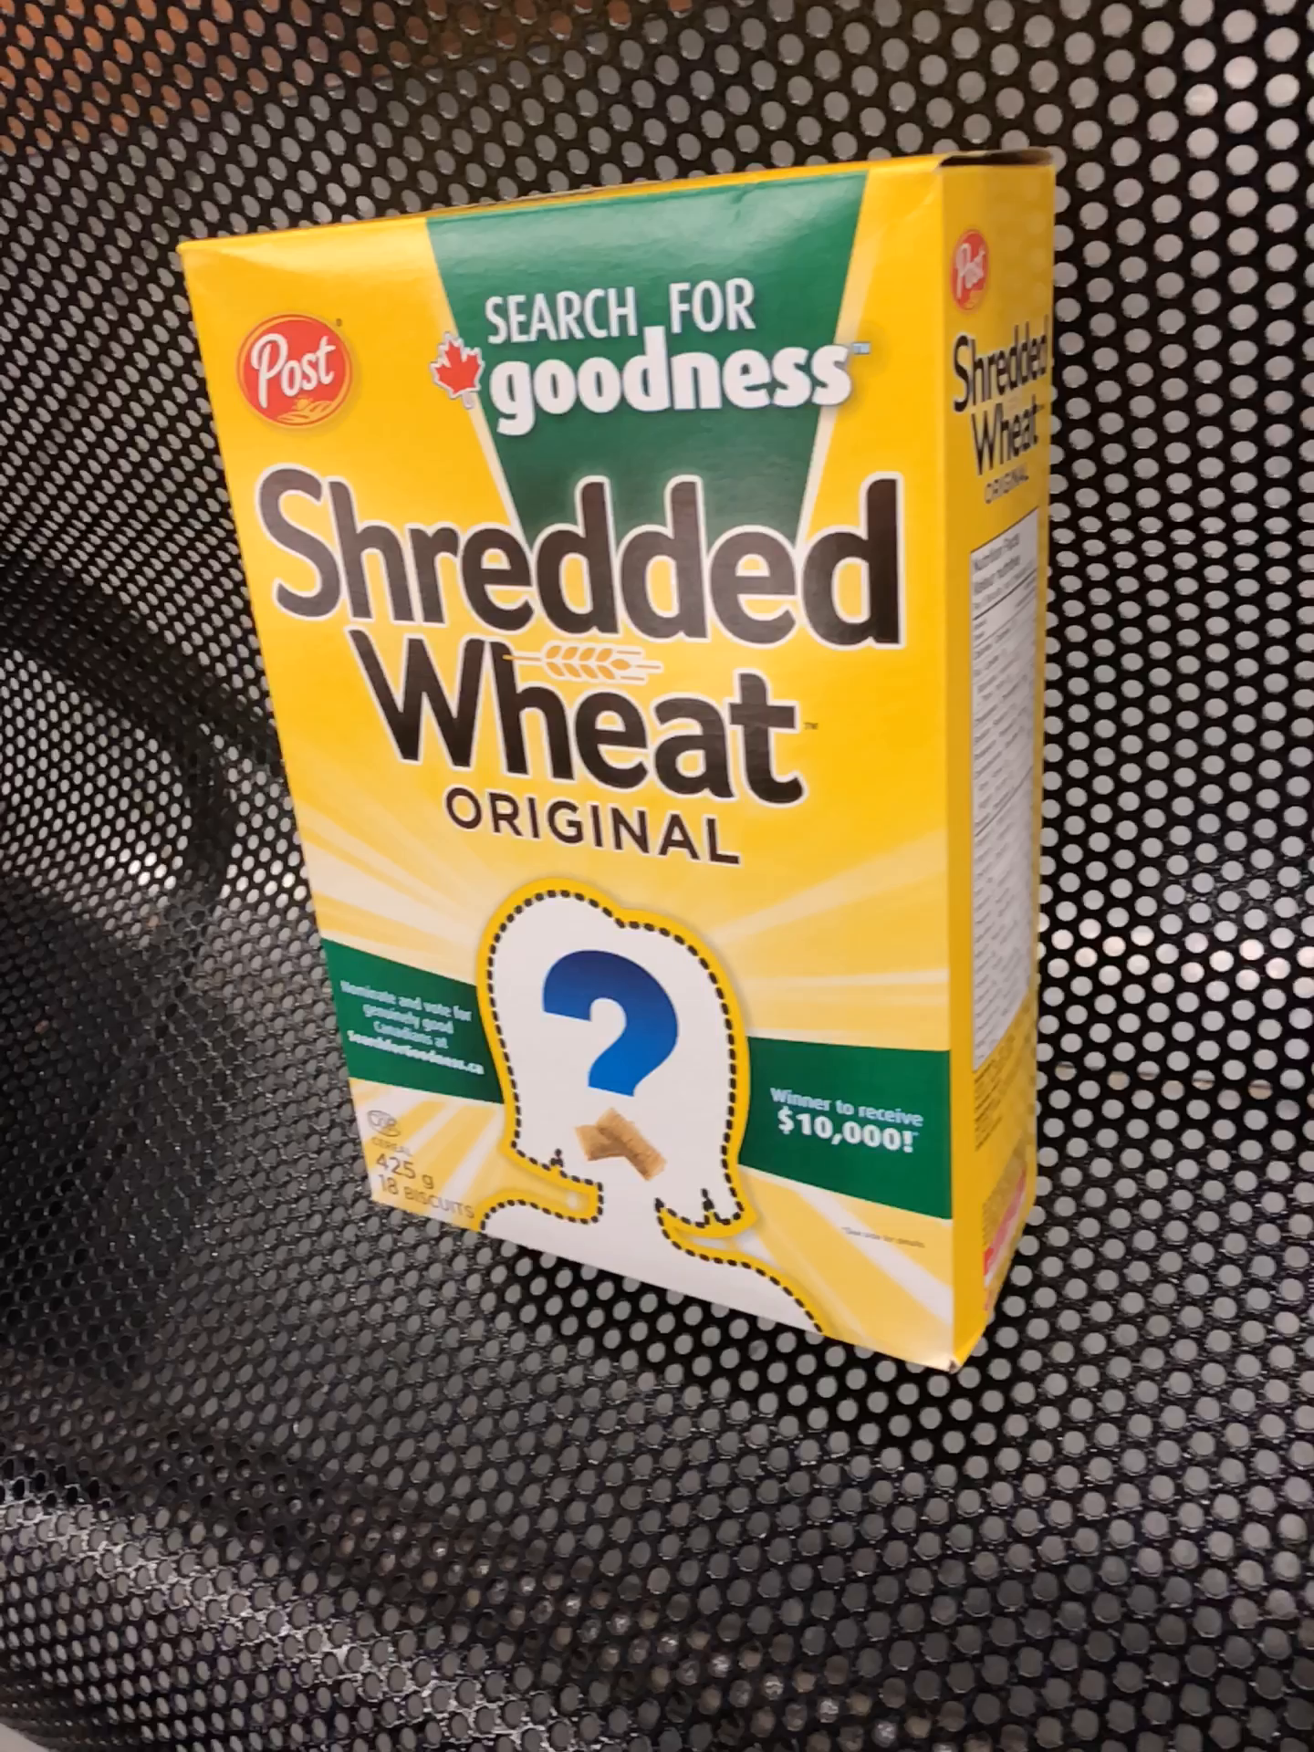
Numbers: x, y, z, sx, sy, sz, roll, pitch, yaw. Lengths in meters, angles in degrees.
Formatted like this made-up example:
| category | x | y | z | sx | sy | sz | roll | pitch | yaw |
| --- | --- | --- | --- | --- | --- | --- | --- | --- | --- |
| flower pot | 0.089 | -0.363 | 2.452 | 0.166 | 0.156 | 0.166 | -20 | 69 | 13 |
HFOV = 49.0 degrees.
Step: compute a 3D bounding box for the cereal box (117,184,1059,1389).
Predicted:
| category | x | y | z | sx | sy | sz | roll | pitch | yaw |
| --- | --- | --- | --- | --- | --- | --- | --- | --- | --- |
| cereal box | -0.008 | -0.026 | 0.401 | 0.211 | 0.279 | 0.090 | 8 | 27 | 28 |
